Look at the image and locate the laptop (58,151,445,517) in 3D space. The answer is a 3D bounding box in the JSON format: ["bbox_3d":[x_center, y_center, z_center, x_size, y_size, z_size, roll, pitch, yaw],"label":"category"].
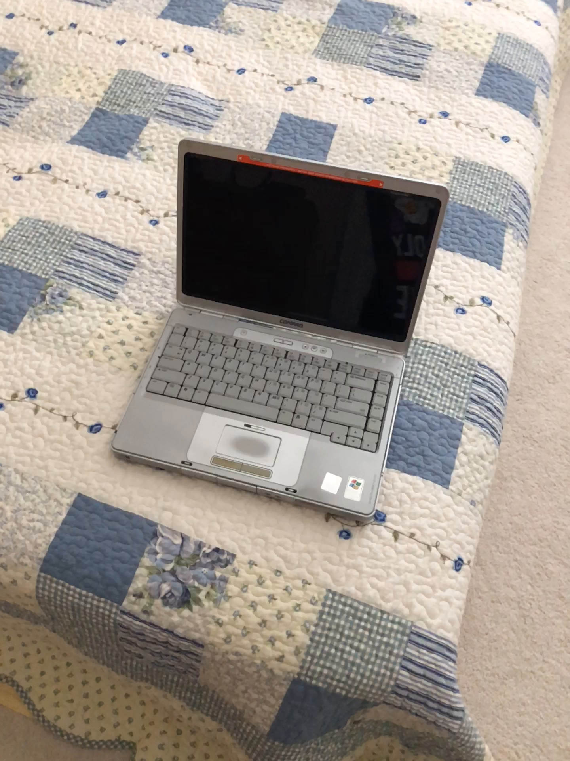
[{"bbox_3d":[-0.015,-0.061,0.739,0.322,0.193,0.327,13,59,8],"label":"laptop"}]
